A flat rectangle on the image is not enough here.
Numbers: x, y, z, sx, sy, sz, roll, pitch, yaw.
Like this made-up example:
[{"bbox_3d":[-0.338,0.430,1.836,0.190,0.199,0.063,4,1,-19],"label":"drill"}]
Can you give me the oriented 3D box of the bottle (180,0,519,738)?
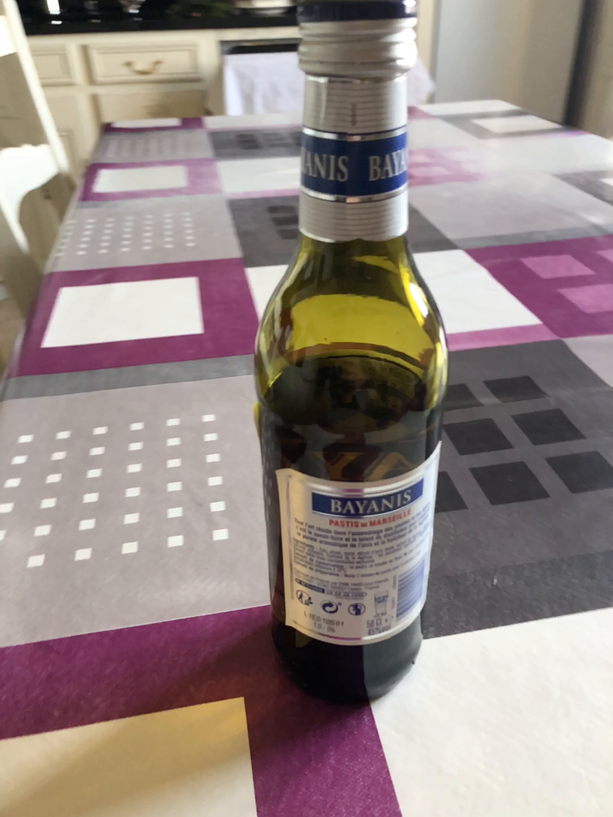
[{"bbox_3d":[0.009,0.002,0.244,0.070,0.258,0.070,-1,32,1],"label":"bottle"}]
